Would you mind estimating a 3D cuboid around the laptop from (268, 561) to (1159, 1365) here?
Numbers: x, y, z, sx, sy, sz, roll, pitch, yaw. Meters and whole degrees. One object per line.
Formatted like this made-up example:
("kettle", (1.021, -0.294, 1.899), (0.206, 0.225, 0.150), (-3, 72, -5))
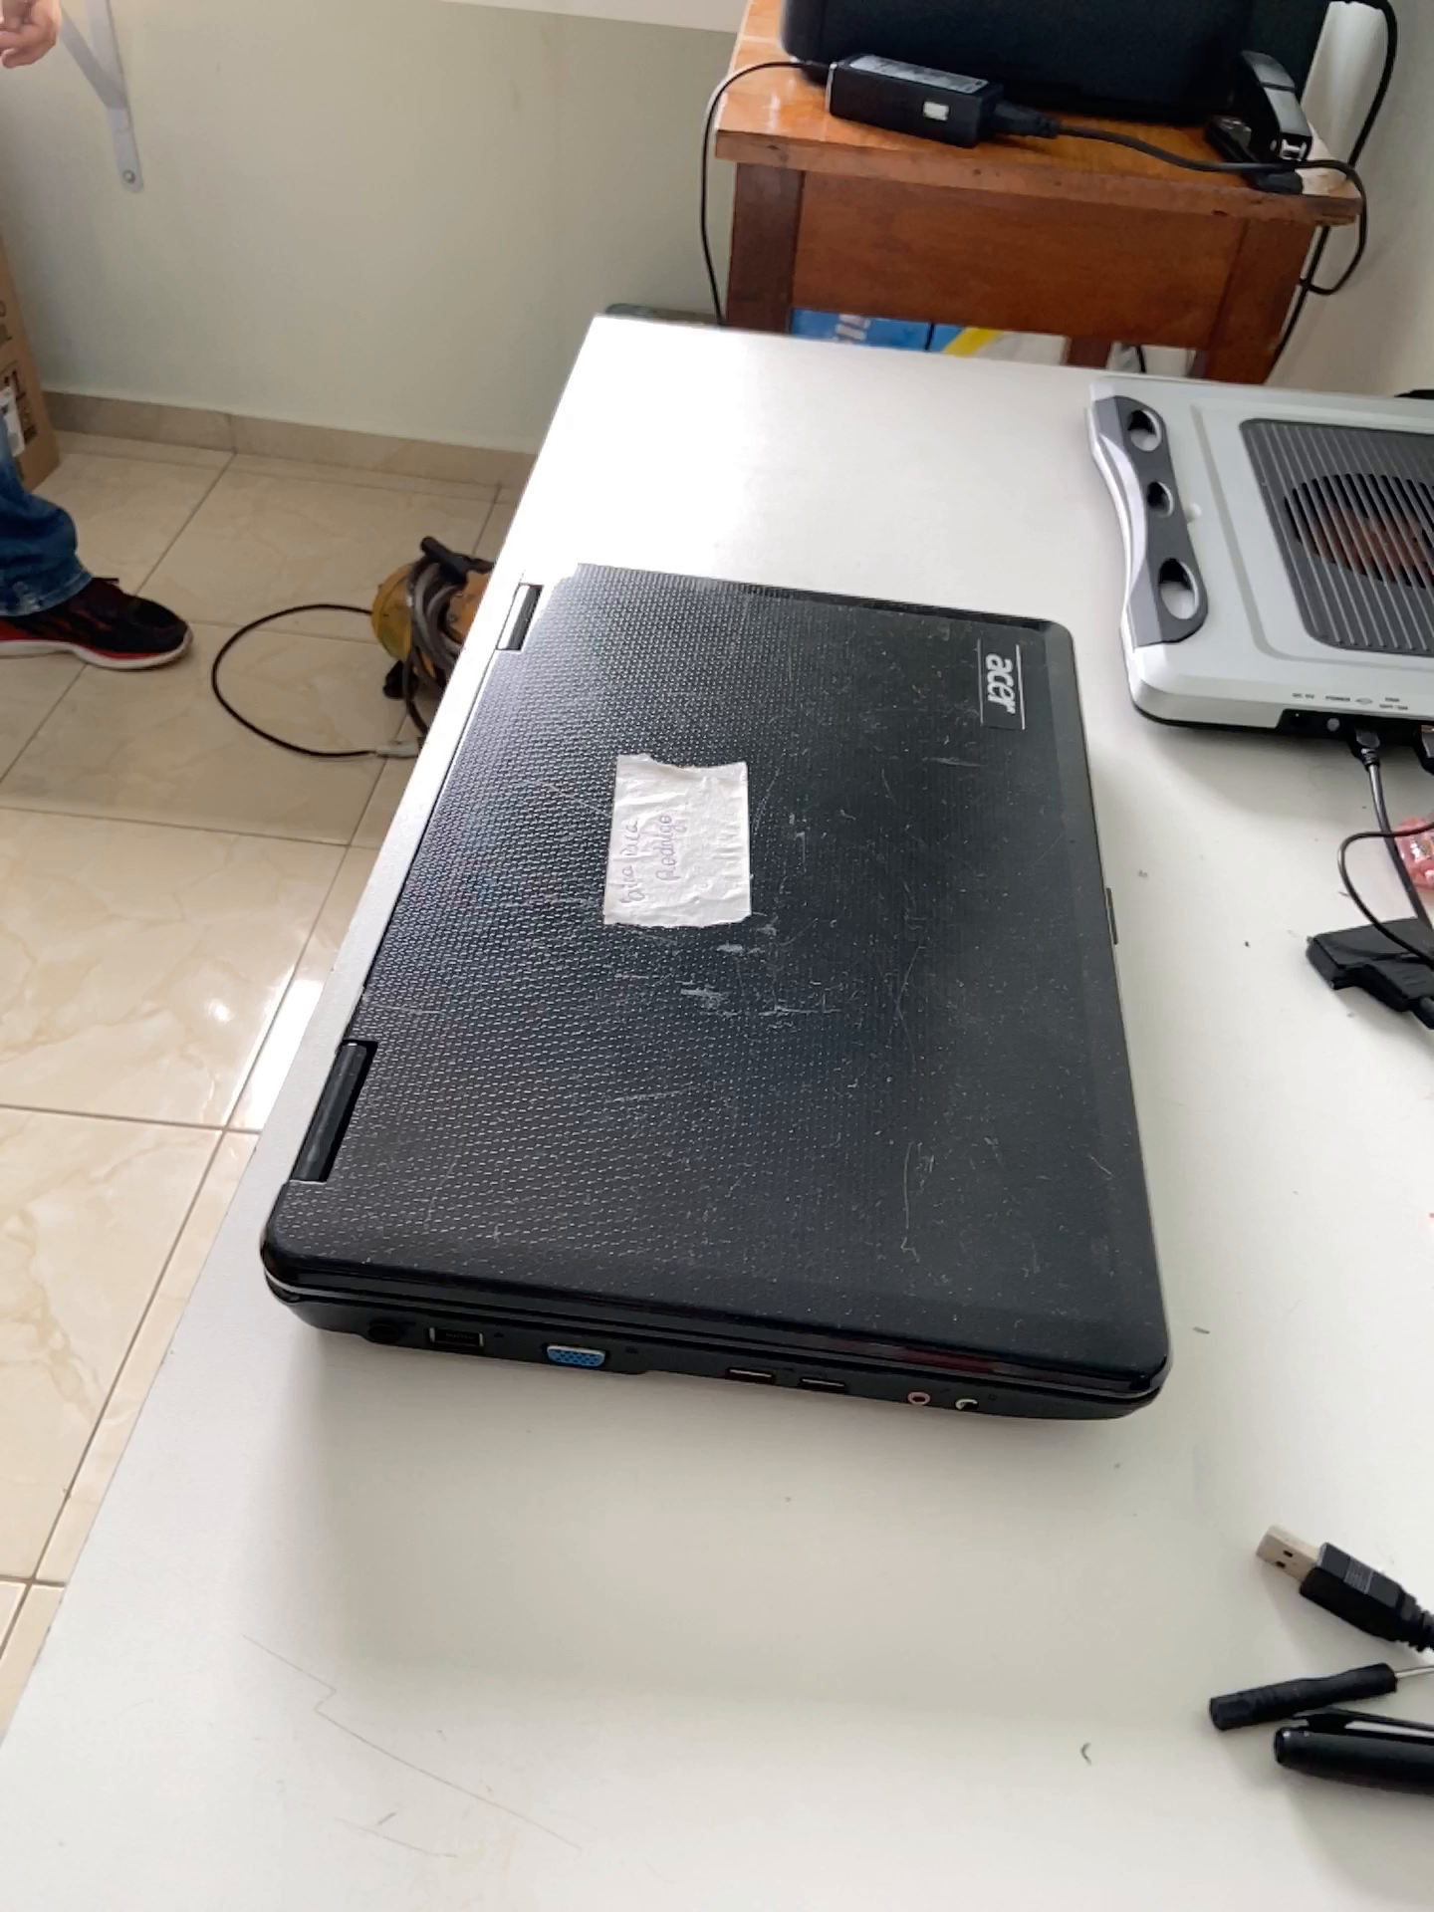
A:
("laptop", (0.018, -0.033, 0.520), (0.238, 0.005, 0.358), (8, 44, 1))
